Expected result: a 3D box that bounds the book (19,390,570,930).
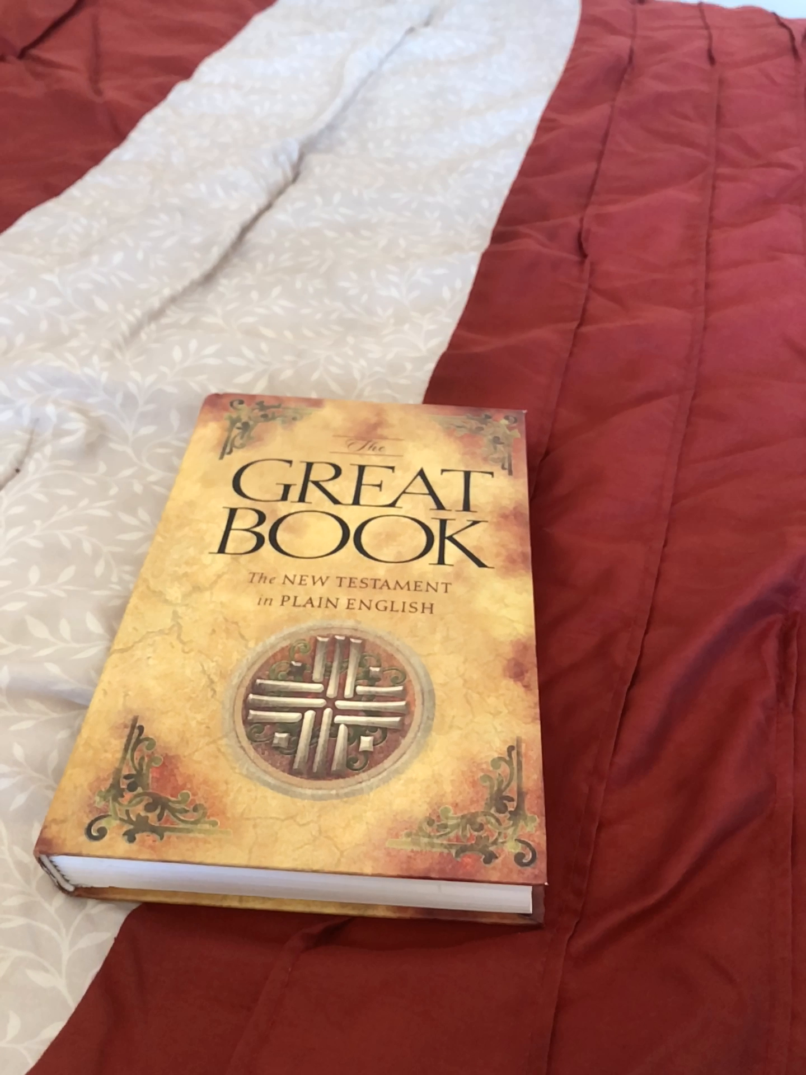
[{"bbox_3d":[-0.025,0.028,0.350,0.161,0.040,0.221,2,46,3],"label":"book"}]
